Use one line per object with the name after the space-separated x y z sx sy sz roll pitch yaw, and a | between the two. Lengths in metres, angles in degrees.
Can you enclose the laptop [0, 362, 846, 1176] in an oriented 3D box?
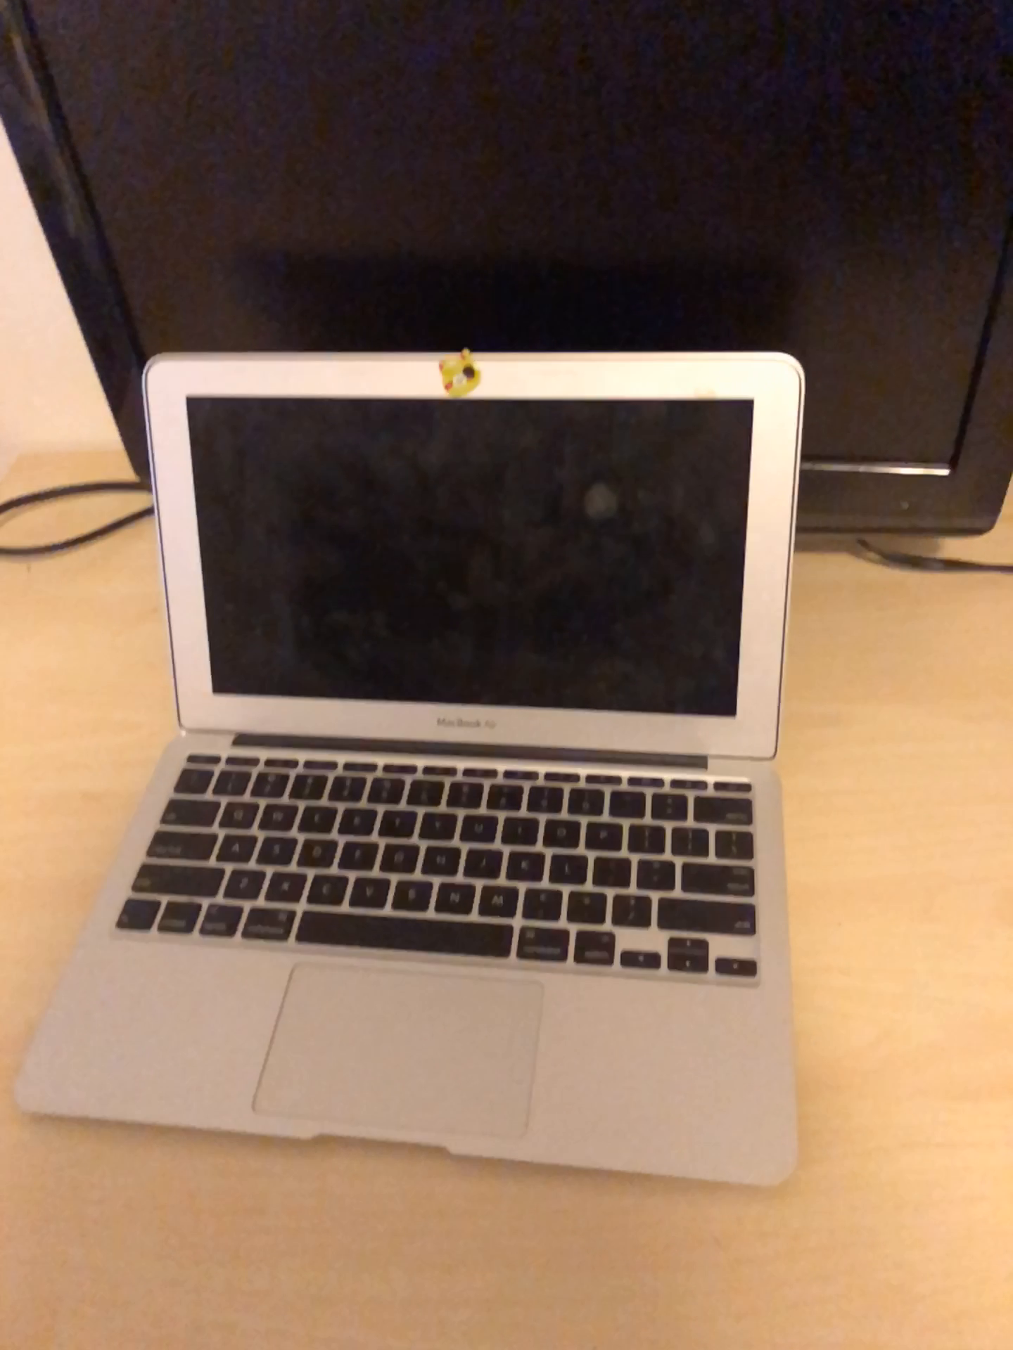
-0.033 0.017 0.450 0.290 0.160 0.276 2 45 8 | laptop
